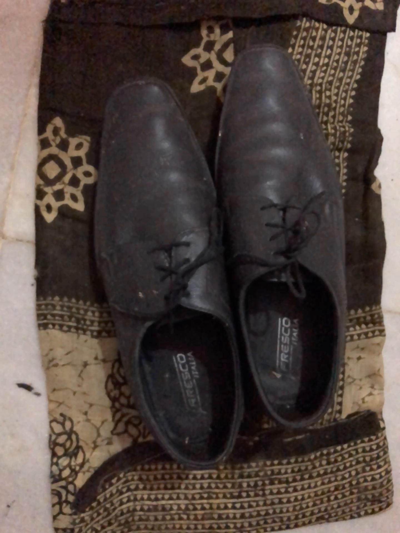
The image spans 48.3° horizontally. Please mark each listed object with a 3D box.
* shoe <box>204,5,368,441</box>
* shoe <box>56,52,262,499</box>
[{"bbox_3d":[0.070,-0.034,0.388,0.110,0.070,0.340,-3,91,-3],"label":"shoe"},{"bbox_3d":[-0.032,0.008,0.387,0.110,0.070,0.340,-9,92,-3],"label":"shoe"}]
